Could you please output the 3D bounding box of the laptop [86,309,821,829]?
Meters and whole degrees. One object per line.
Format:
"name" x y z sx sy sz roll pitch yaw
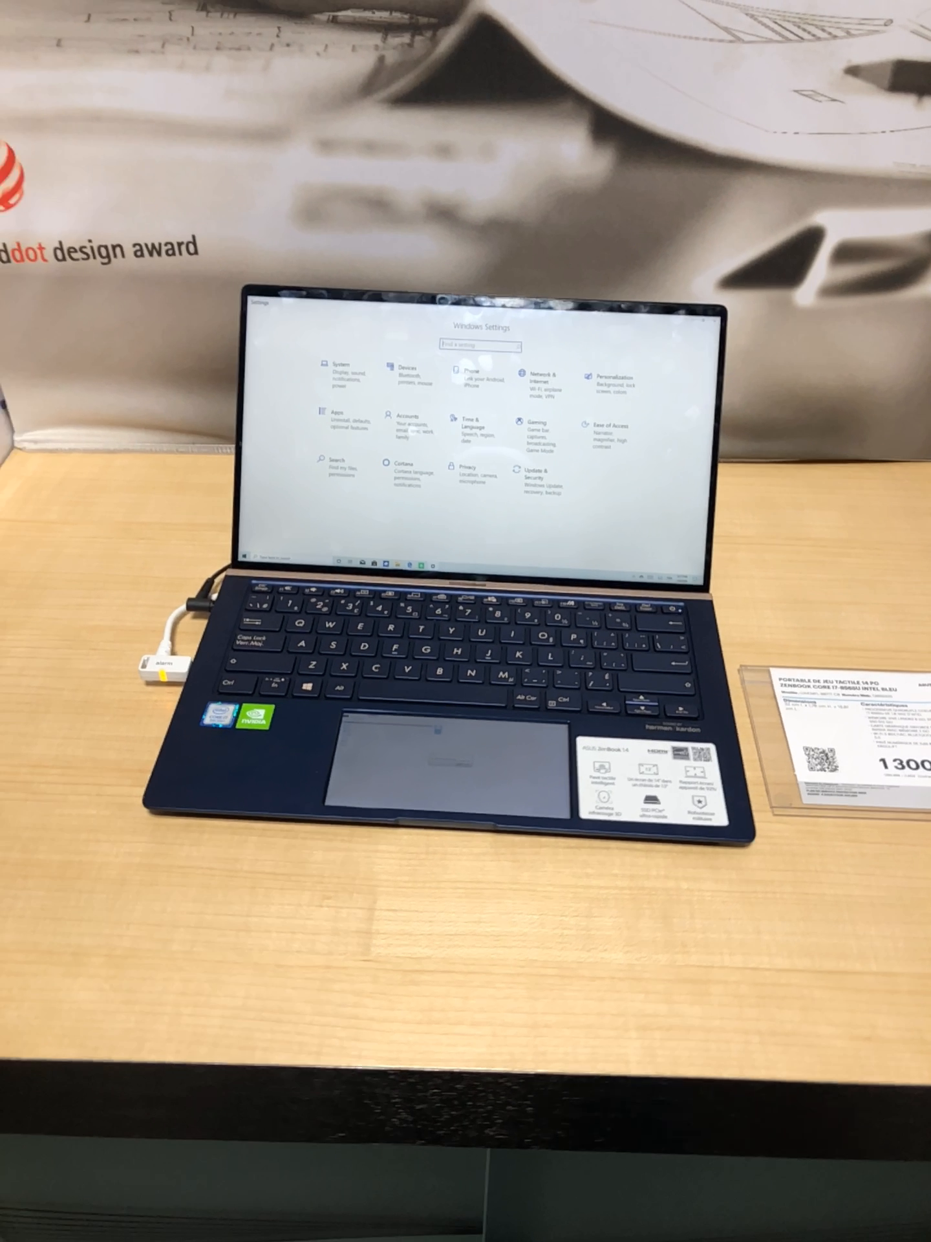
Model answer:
"laptop" 0.006 -0.052 0.639 0.332 0.159 0.322 3 39 3
